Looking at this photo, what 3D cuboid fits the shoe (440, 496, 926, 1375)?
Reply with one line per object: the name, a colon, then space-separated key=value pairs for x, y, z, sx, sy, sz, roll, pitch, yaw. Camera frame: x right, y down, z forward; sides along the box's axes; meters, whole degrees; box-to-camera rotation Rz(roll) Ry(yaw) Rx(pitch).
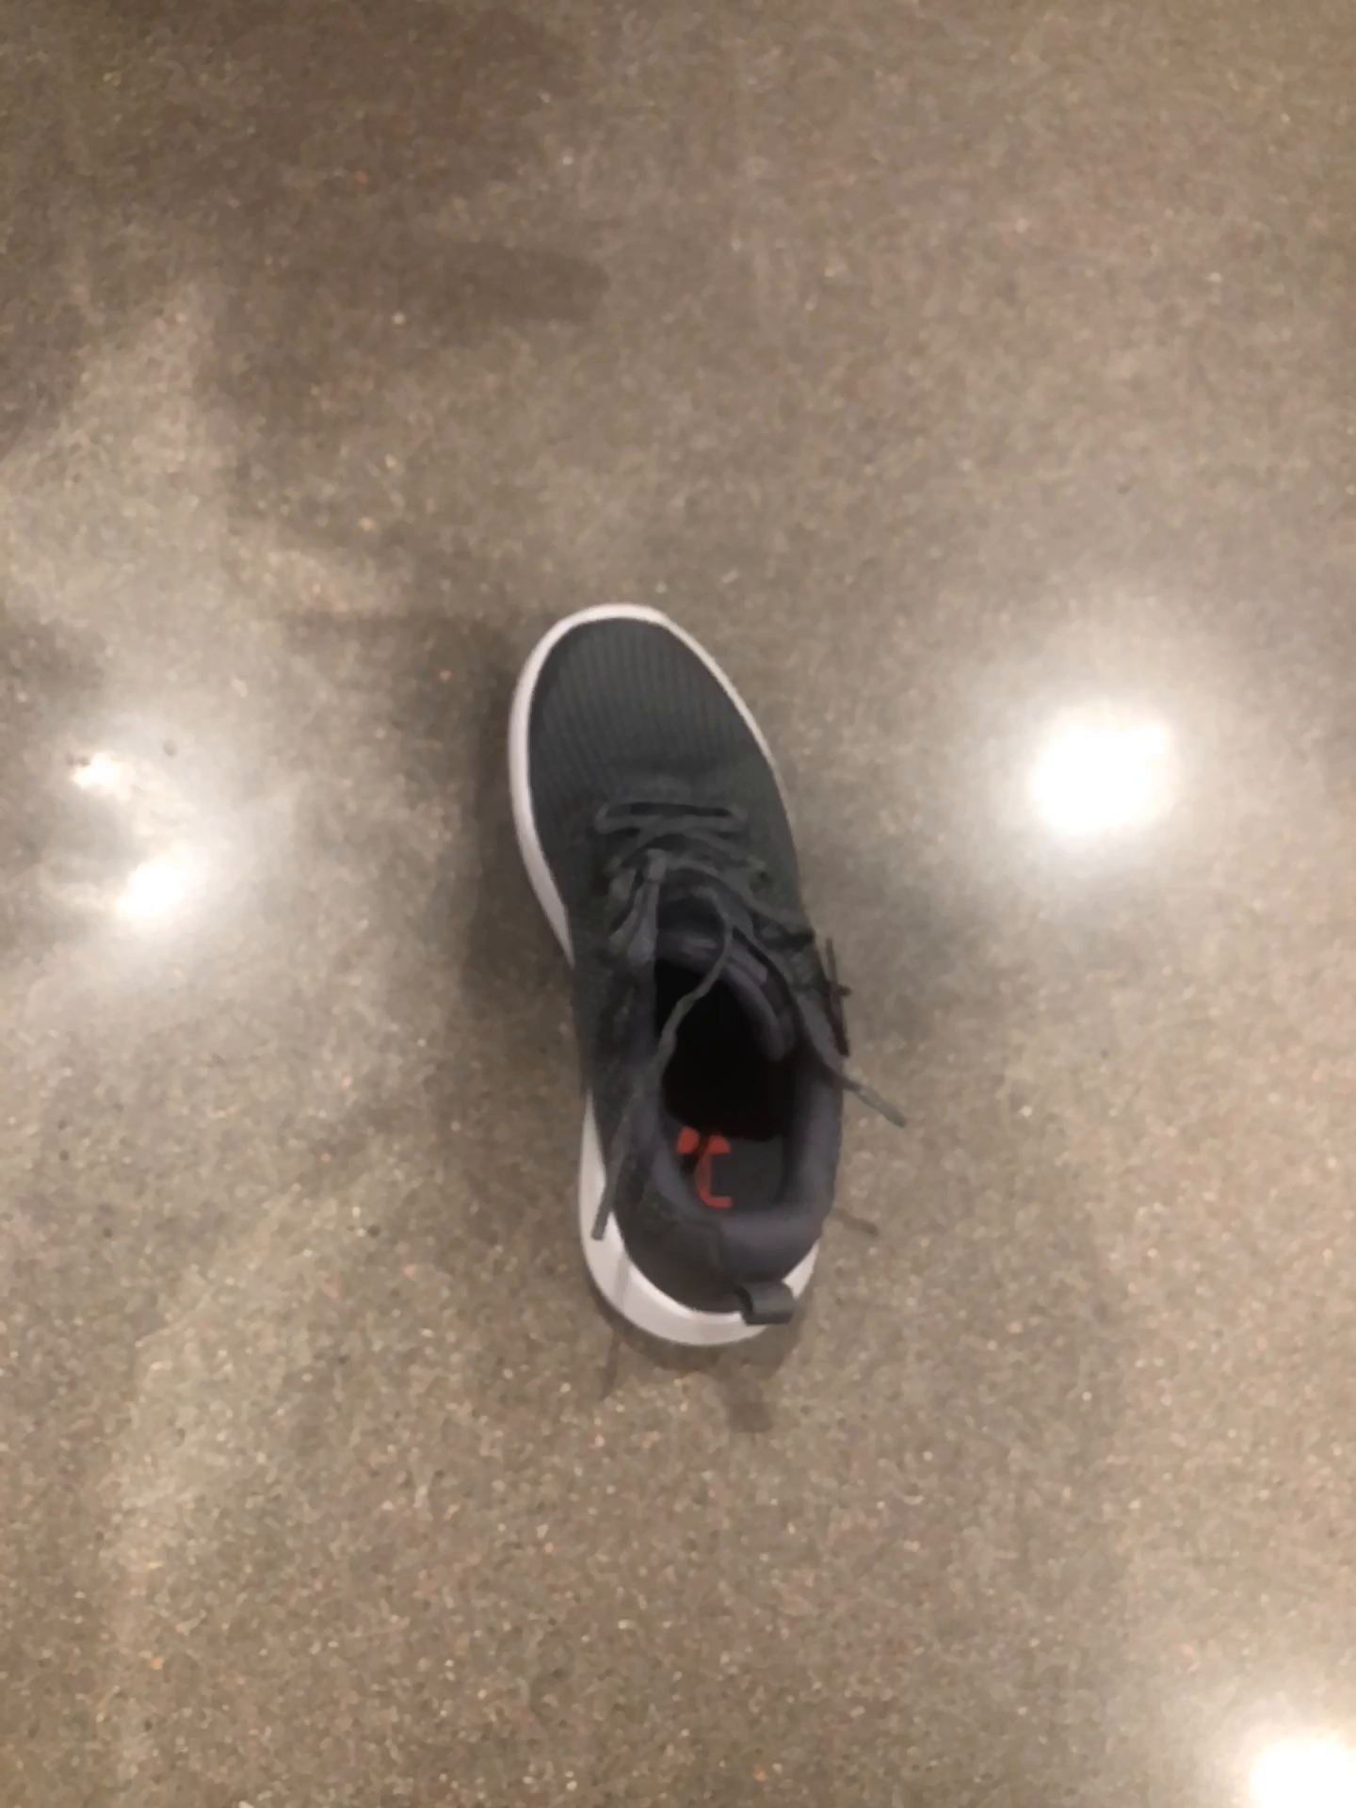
shoe: x=-0.008 y=0.008 z=0.495 sx=0.116 sy=0.085 sz=0.265 roll=-2 pitch=74 yaw=-14
